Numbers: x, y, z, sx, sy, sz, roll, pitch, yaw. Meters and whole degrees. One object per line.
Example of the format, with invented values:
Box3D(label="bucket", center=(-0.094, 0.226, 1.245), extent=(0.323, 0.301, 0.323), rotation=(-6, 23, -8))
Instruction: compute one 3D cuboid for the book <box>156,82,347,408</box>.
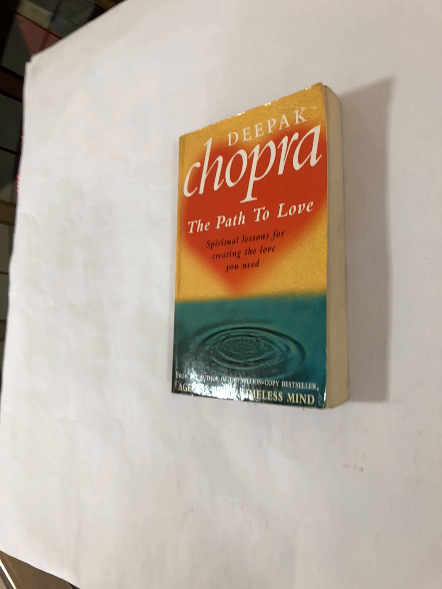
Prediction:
Box3D(label="book", center=(0.019, -0.028, 0.350), extent=(0.131, 0.040, 0.200), rotation=(-4, 80, 38))
